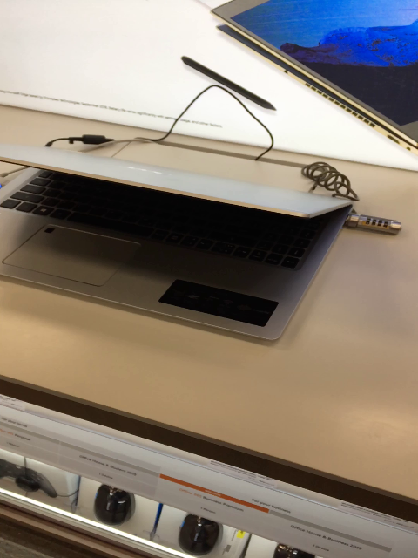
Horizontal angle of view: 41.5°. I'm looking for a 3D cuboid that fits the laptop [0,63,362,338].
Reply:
[{"bbox_3d":[-0.091,-0.109,0.590,0.408,0.140,0.251,15,45,21],"label":"laptop"}]
